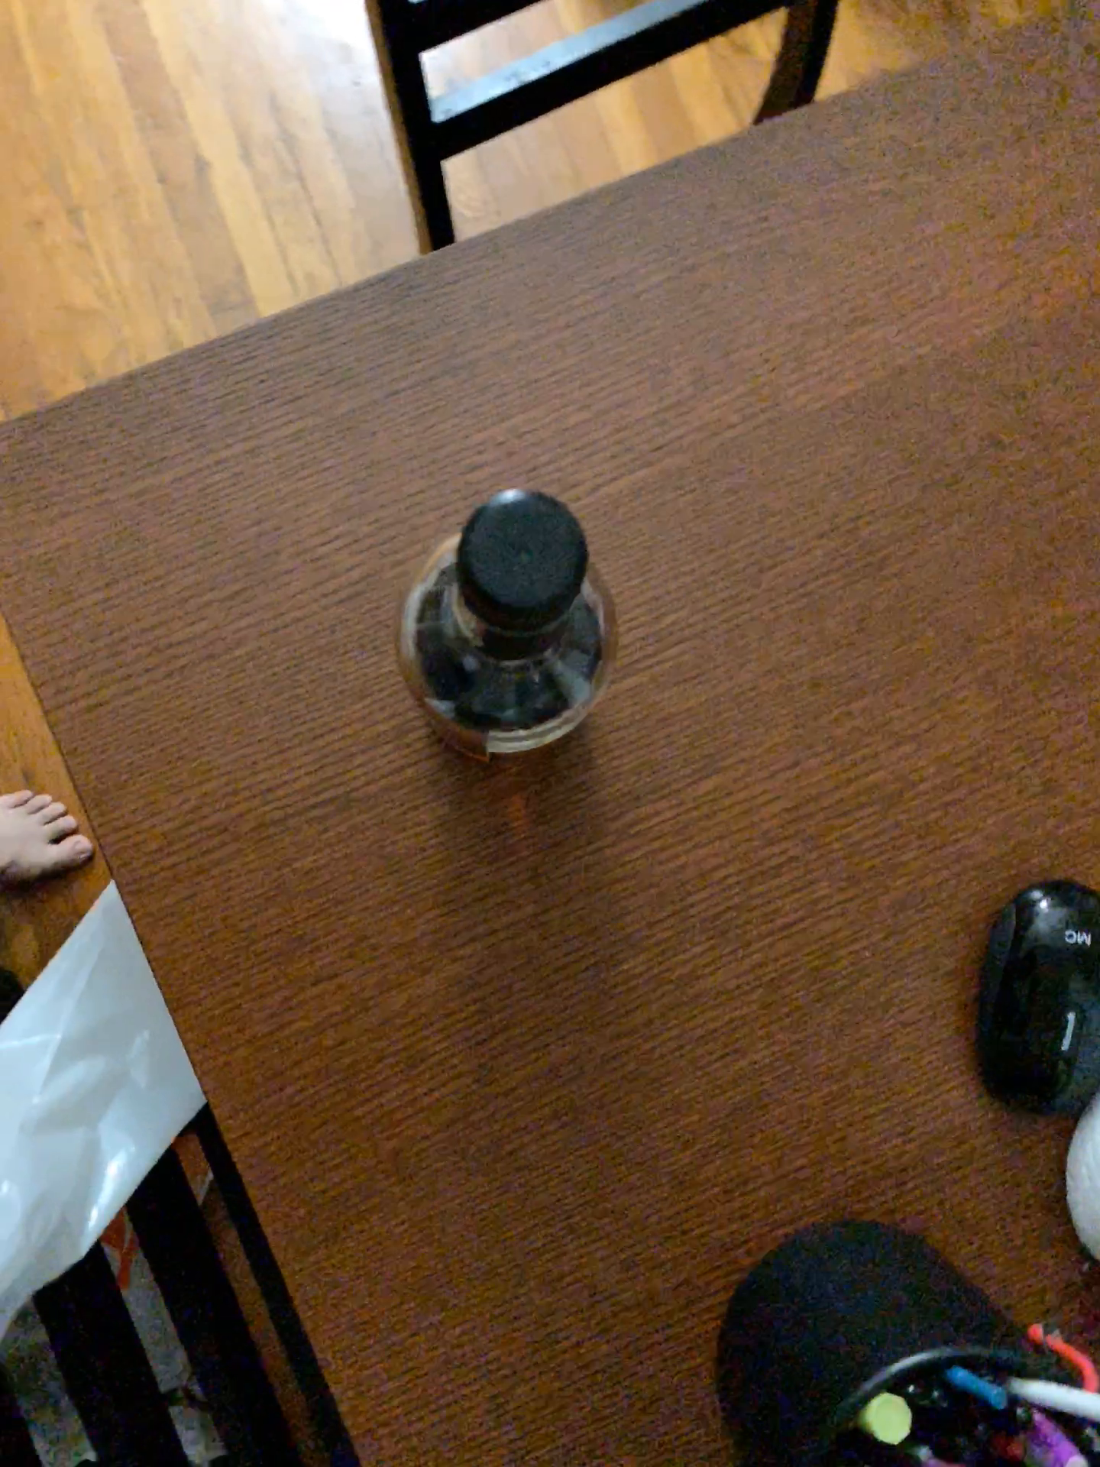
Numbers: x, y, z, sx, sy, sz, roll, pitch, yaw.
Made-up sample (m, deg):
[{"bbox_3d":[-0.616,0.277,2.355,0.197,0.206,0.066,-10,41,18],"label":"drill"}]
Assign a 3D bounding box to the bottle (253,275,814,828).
[{"bbox_3d":[-0.012,-0.032,0.396,0.090,0.290,0.090,0,86,-3],"label":"bottle"}]
